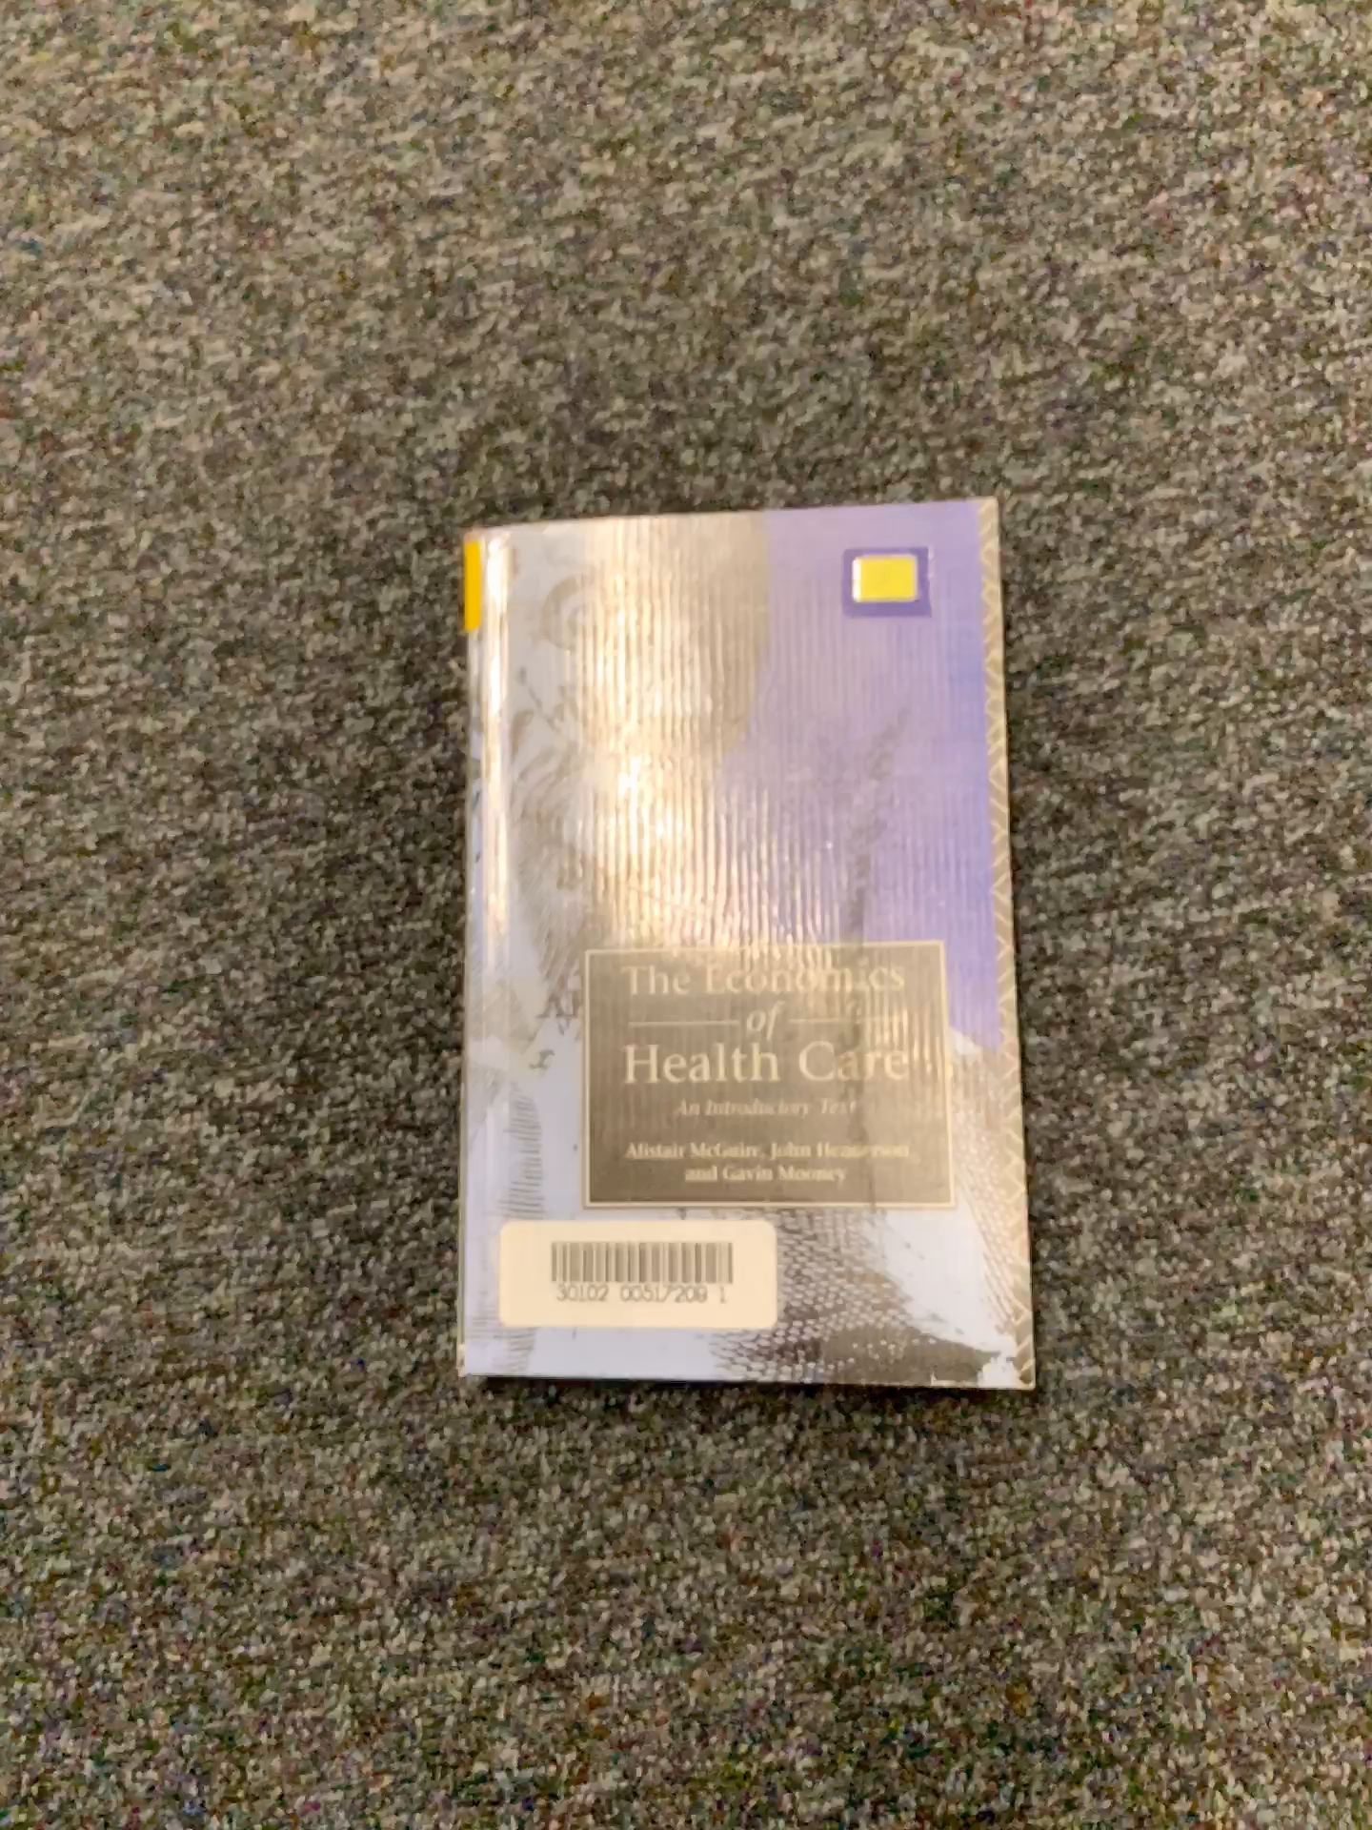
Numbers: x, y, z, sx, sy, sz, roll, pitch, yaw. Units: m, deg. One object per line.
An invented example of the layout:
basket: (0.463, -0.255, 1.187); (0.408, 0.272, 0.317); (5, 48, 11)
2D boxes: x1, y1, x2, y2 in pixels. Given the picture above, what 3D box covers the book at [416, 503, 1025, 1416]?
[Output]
book: (0.007, 0.009, 0.344); (0.135, 0.030, 0.207); (-1, 82, 7)
